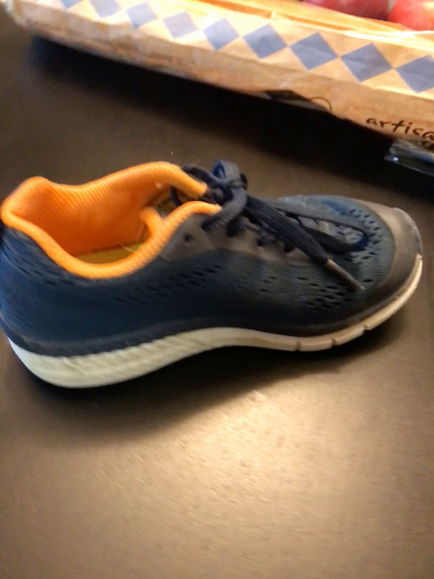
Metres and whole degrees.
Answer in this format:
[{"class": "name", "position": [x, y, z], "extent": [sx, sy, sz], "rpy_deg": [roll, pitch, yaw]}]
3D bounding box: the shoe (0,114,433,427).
[{"class": "shoe", "position": [0.001, -0.014, 0.217], "extent": [0.186, 0.072, 0.084], "rpy_deg": [-11, 51, -11]}]
